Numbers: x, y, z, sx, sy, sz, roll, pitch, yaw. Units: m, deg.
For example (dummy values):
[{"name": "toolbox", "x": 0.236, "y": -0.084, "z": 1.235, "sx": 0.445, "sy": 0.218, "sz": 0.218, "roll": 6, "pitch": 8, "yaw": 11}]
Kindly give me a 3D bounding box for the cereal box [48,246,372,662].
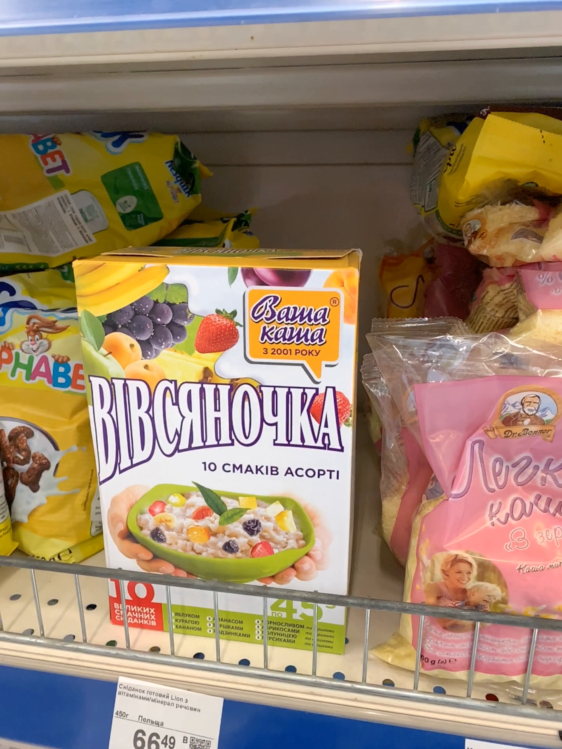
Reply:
[{"name": "cereal box", "x": -0.030, "y": 0.039, "z": 0.327, "sx": 0.150, "sy": 0.209, "sz": 0.070, "roll": 3, "pitch": 17, "yaw": 10}]
